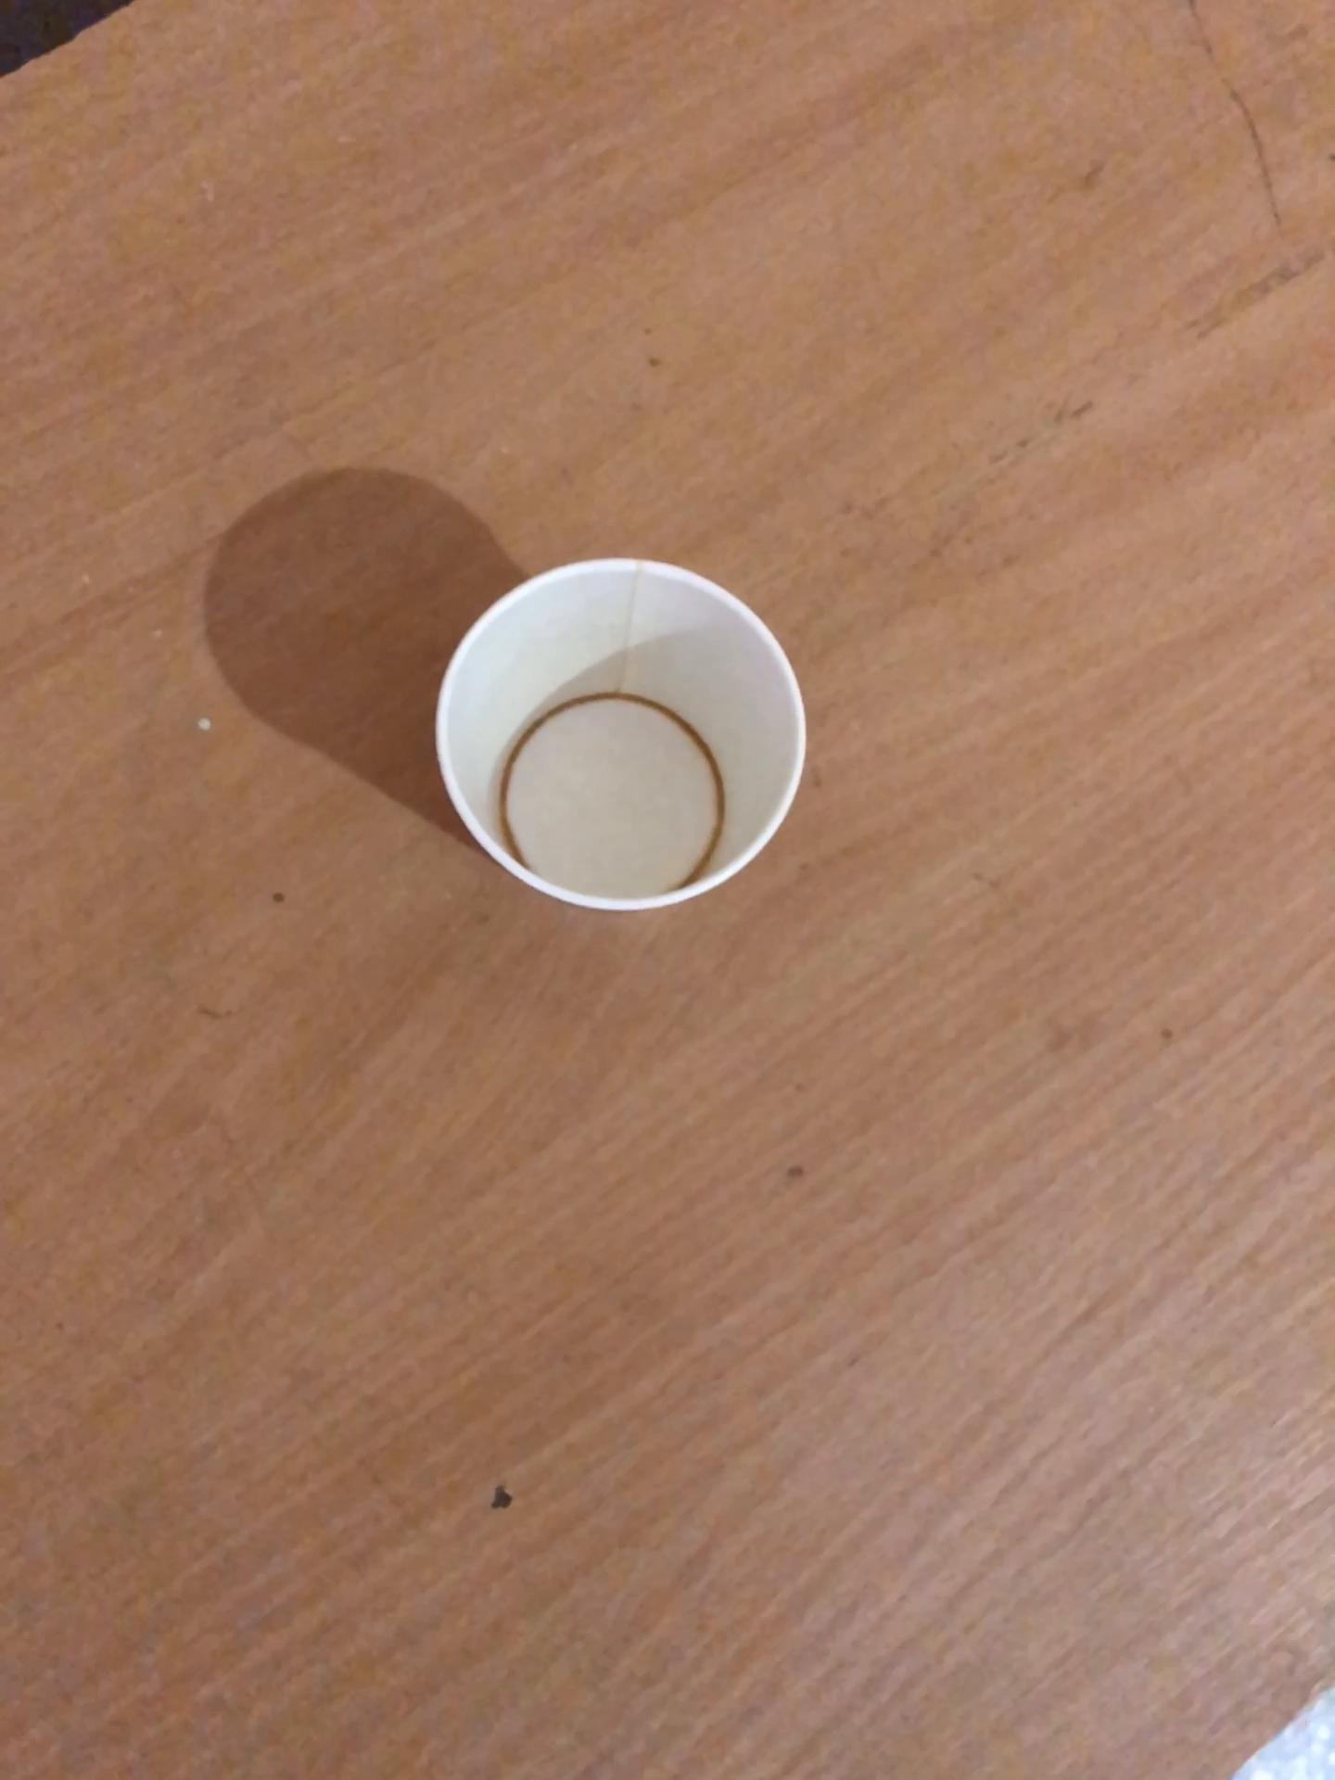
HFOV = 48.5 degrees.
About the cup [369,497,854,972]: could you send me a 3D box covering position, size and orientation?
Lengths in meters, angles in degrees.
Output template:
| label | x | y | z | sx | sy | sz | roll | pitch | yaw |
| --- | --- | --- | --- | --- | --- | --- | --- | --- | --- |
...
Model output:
| label | x | y | z | sx | sy | sz | roll | pitch | yaw |
| --- | --- | --- | --- | --- | --- | --- | --- | --- | --- |
| cup | -0.011 | -0.029 | 0.316 | 0.074 | 0.064 | 0.067 | 20 | 83 | 0 |
